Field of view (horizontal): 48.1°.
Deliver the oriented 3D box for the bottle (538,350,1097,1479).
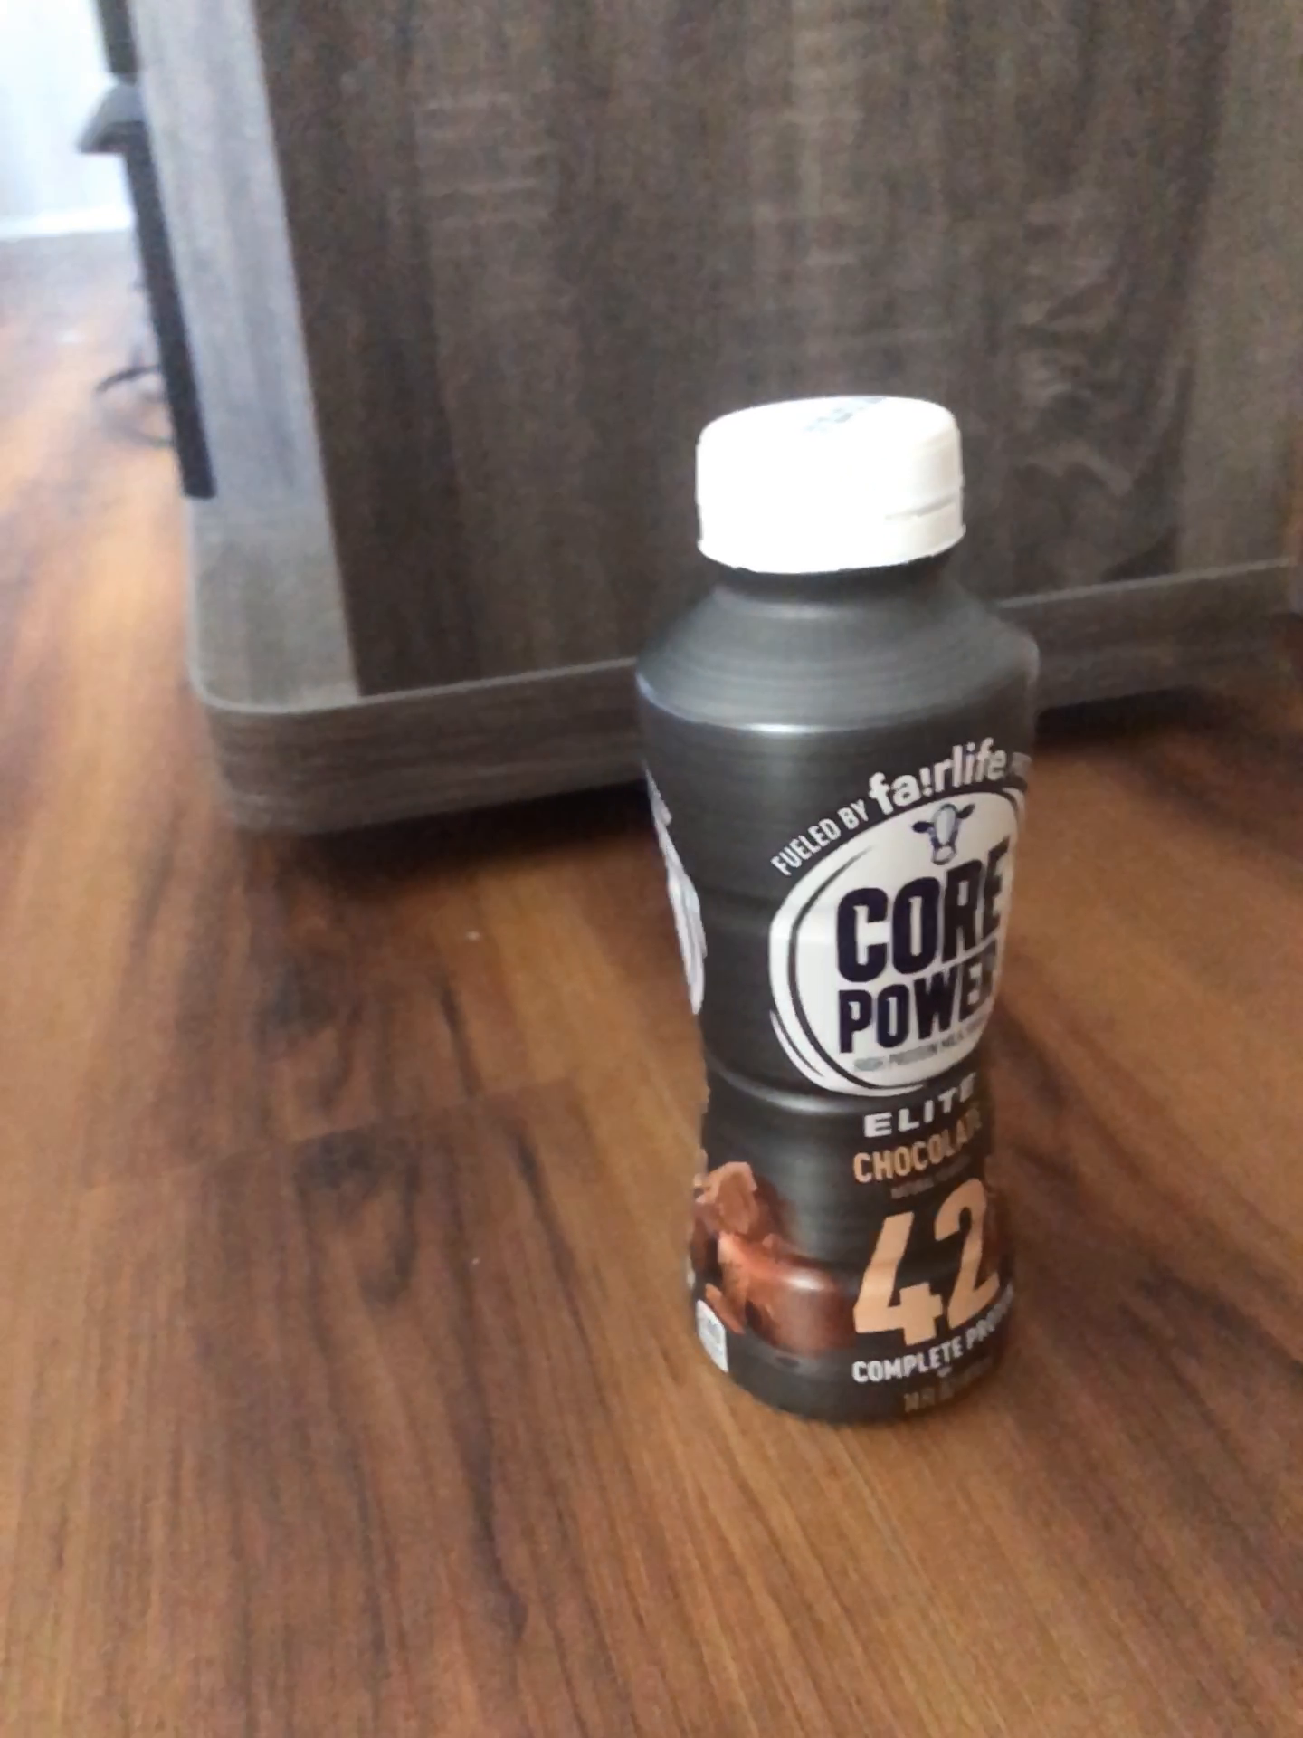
[{"bbox_3d":[0.037,0.009,0.264,0.070,0.184,0.070,-4,26,2],"label":"bottle"}]
